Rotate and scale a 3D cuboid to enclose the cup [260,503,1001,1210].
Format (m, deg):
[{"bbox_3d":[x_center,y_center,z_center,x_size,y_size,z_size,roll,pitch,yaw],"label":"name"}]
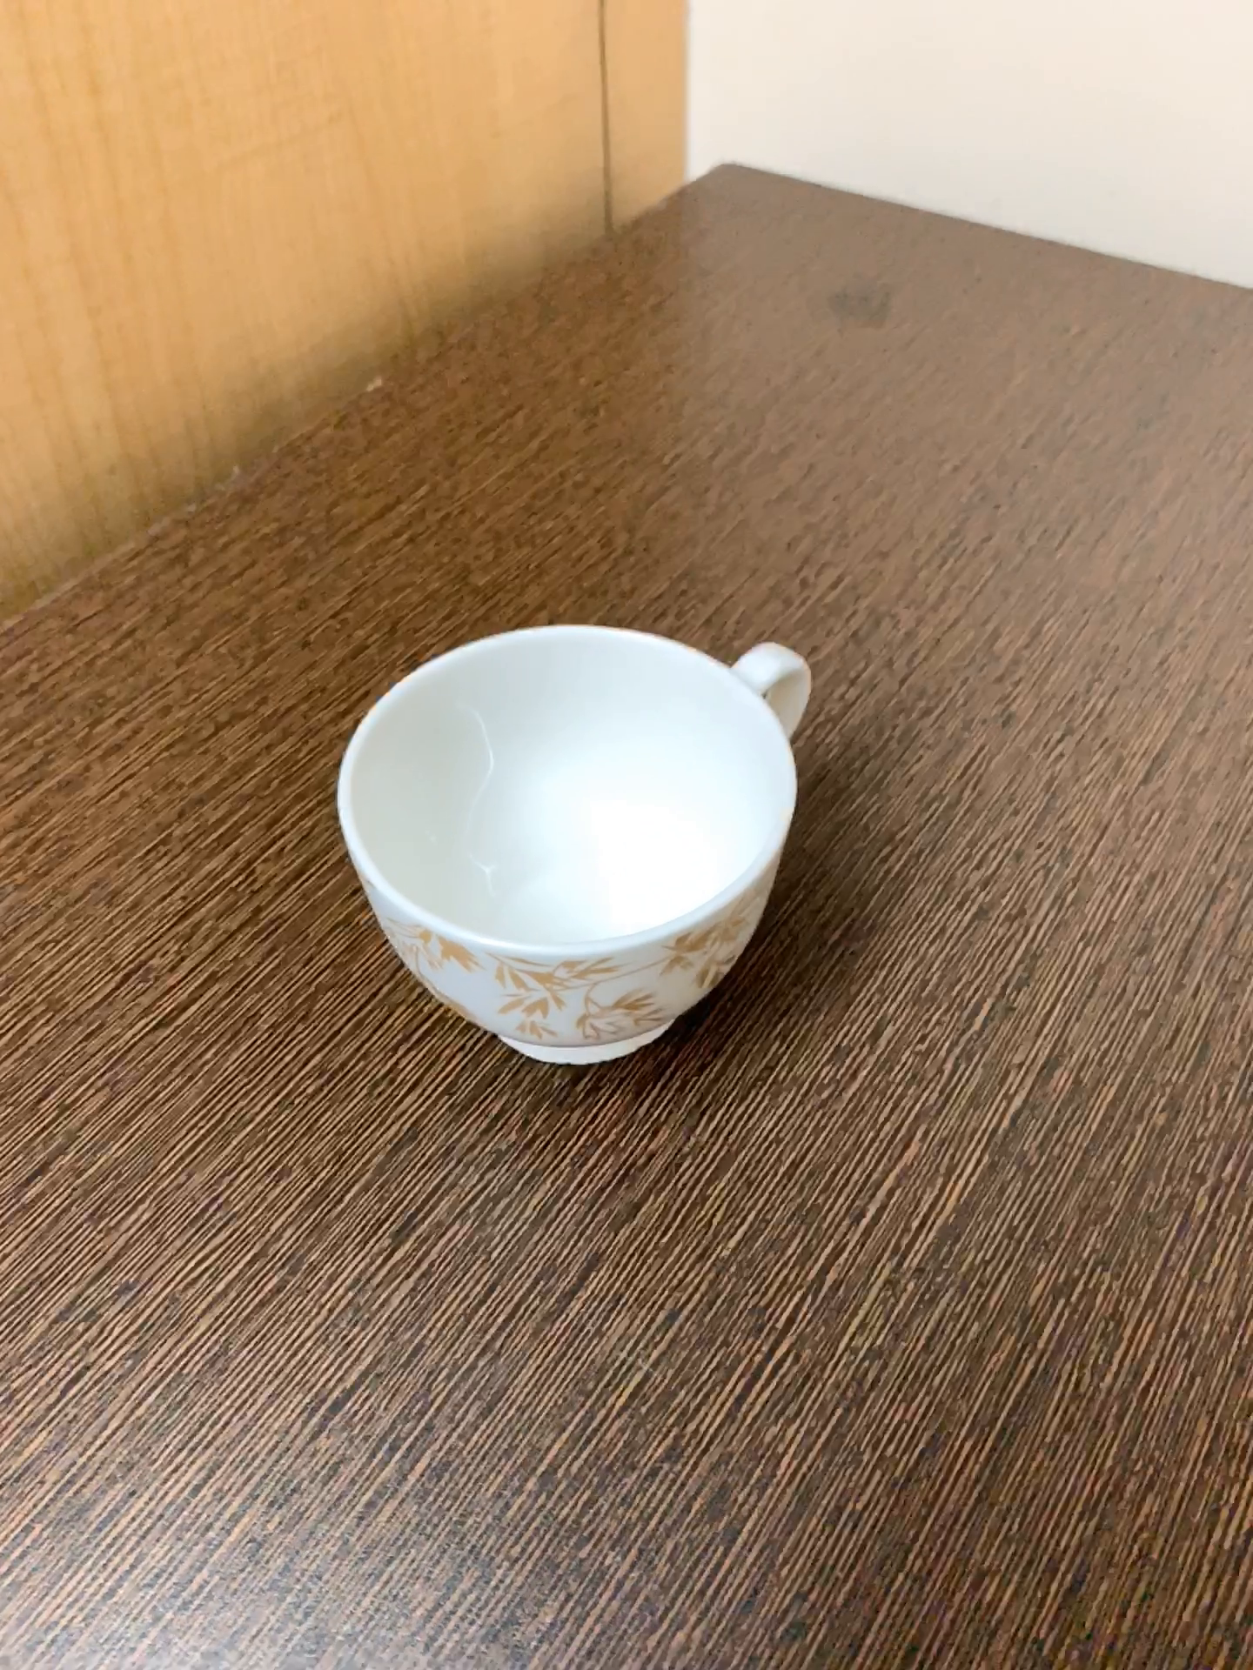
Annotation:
[{"bbox_3d":[0.004,-0.003,0.238,0.080,0.050,0.100,30,55,26],"label":"cup"}]
